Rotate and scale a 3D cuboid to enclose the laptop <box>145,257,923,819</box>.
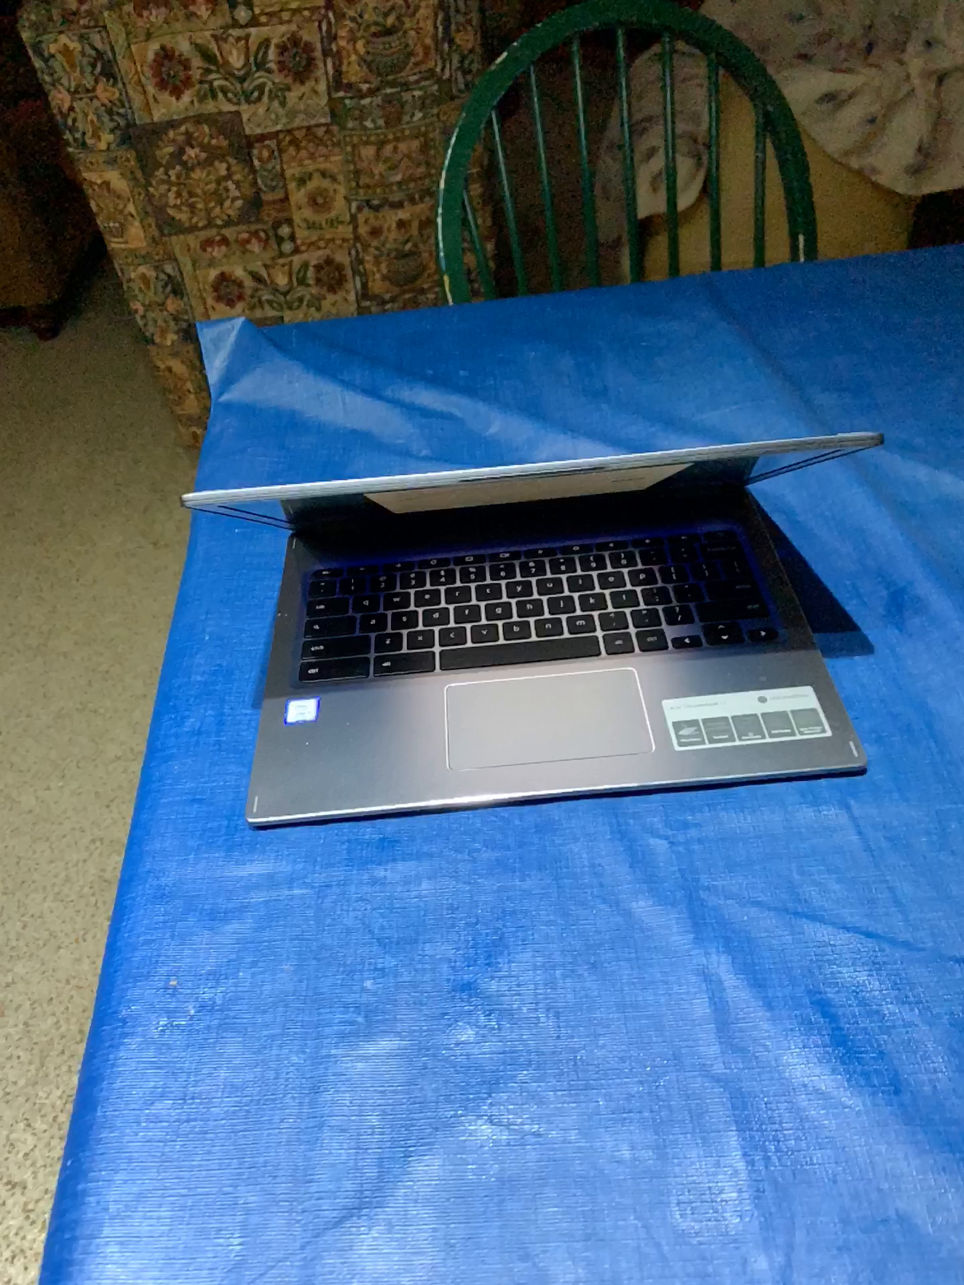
[{"bbox_3d":[0.020,-0.067,0.526,0.303,0.150,0.252,-5,42,1],"label":"laptop"}]
